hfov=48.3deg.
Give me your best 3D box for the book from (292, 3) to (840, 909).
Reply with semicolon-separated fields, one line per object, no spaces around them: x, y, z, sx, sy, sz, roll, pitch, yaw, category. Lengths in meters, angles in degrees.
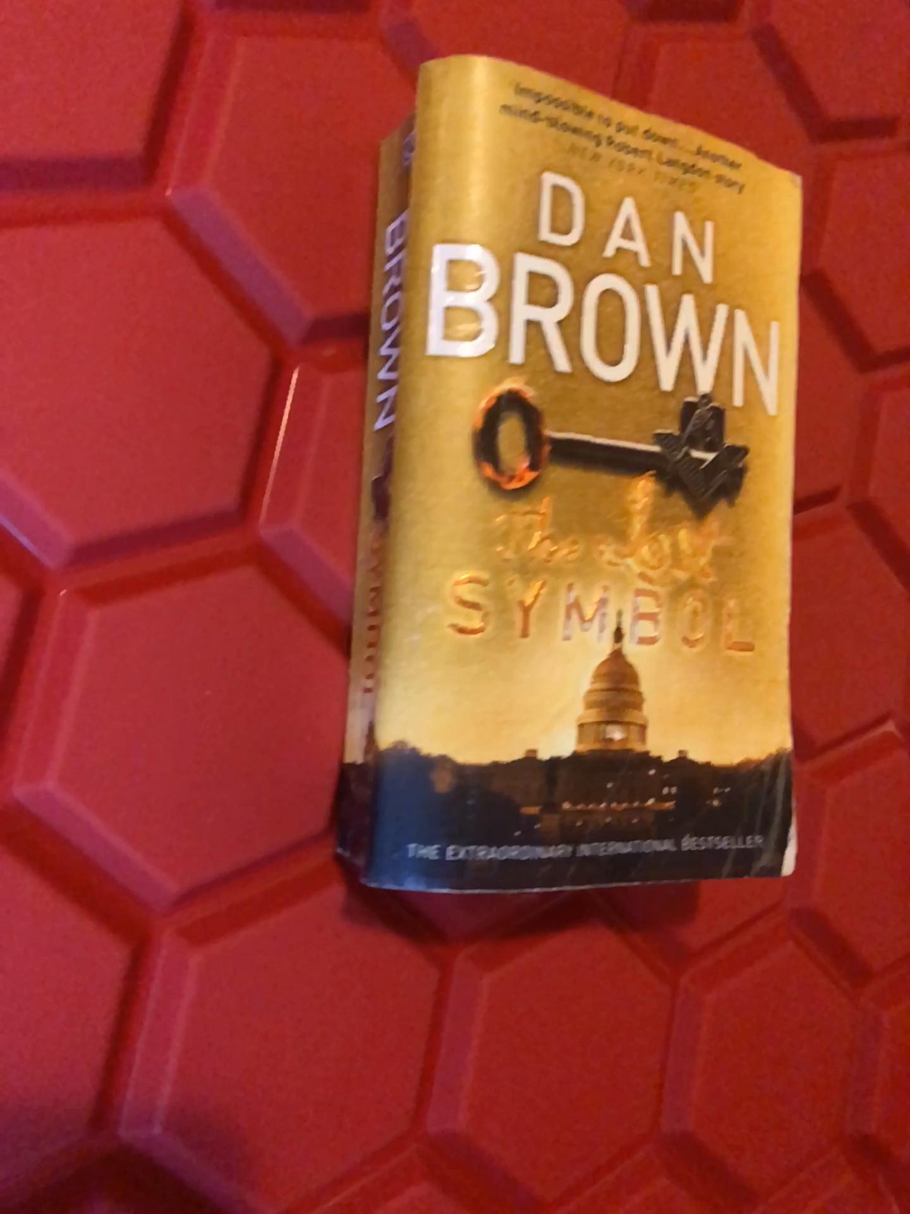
0.031;-0.027;0.254;0.122;0.051;0.183;5;85;-28;book
